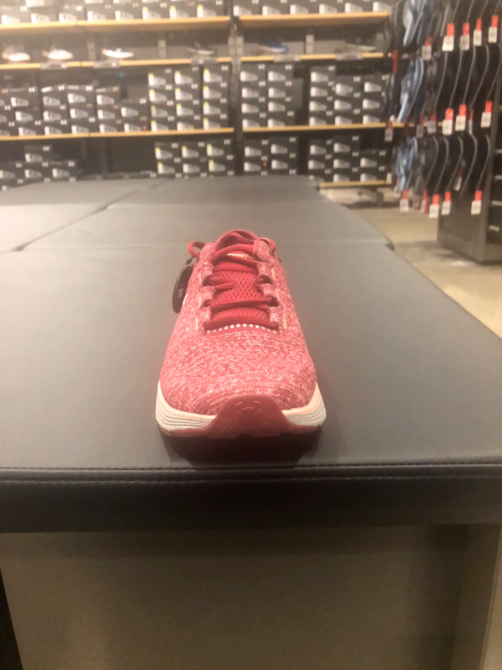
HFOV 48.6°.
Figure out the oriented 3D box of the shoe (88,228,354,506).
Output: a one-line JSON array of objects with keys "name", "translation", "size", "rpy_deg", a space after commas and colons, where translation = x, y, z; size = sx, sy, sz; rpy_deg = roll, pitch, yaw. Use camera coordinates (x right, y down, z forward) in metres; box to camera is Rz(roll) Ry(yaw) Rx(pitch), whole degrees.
[{"name": "shoe", "translation": [-0.025, -0.005, 0.389], "size": [0.121, 0.097, 0.254], "rpy_deg": [-4, 19, -6]}]
